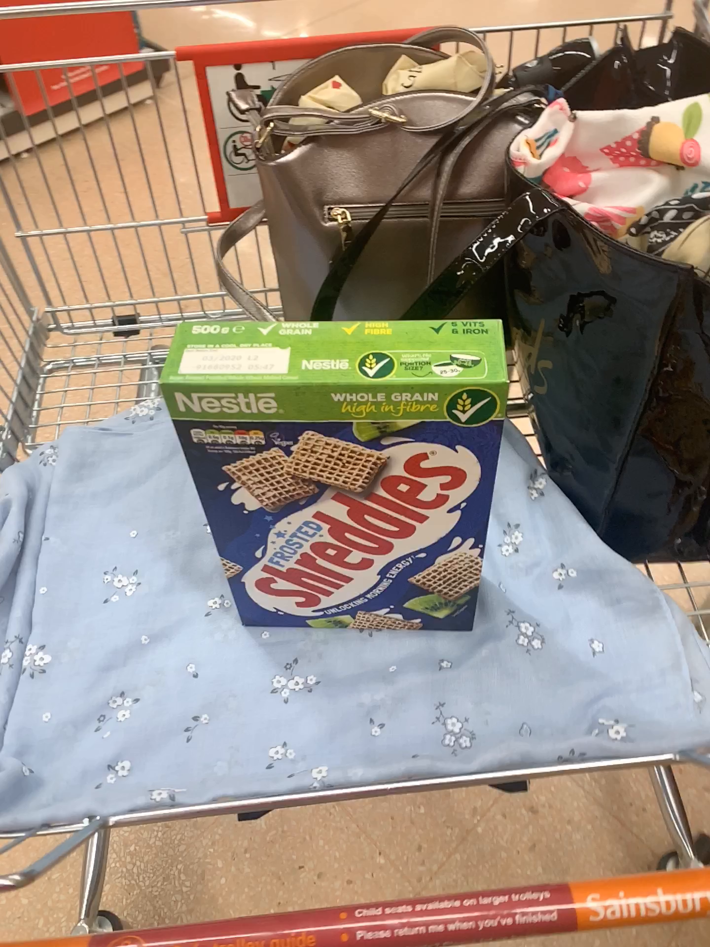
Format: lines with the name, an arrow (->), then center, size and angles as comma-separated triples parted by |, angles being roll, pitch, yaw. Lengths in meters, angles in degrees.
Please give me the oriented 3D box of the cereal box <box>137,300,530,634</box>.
cereal box -> -0.008, 0.016, 0.499 | 0.200, 0.288, 0.060 | 1, 52, 2
